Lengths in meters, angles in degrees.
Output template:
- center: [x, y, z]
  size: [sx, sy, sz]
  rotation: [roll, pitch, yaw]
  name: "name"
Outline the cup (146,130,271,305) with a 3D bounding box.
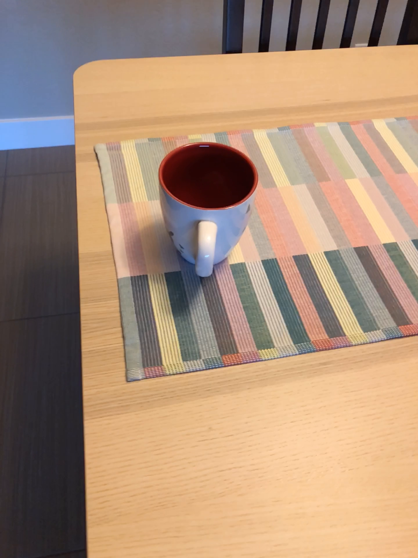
- center: [0.000, -0.061, 0.447]
  size: [0.100, 0.090, 0.141]
  rotation: [3, 52, -1]
  name: "cup"
